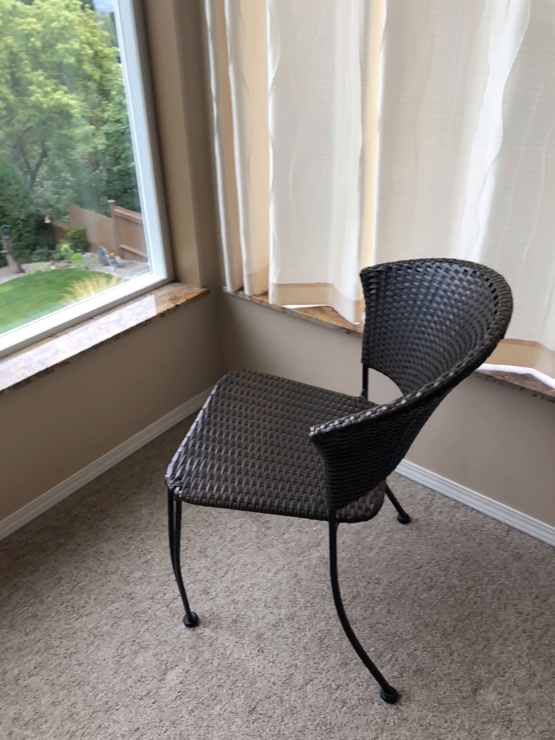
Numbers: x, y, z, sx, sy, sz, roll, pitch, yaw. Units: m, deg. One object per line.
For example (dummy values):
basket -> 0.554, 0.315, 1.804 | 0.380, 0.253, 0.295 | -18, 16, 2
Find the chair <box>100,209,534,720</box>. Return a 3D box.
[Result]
chair -> 0.110, 0.160, 1.274 | 0.610, 0.787, 0.562 | 8, 34, 14
